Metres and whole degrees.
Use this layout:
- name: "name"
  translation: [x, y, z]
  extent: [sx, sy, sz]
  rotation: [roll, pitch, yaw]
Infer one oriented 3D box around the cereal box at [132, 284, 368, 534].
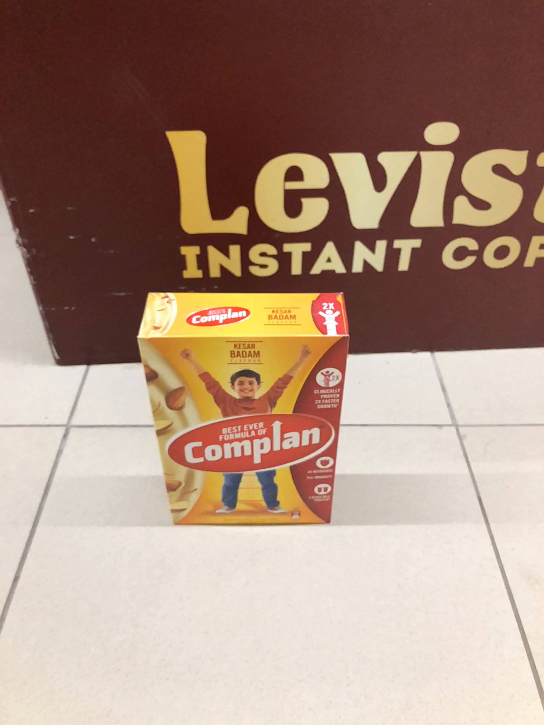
- name: "cereal box"
  translation: [-0.013, 0.047, 0.477]
  extent: [0.150, 0.218, 0.060]
  rotation: [0, 41, 0]
